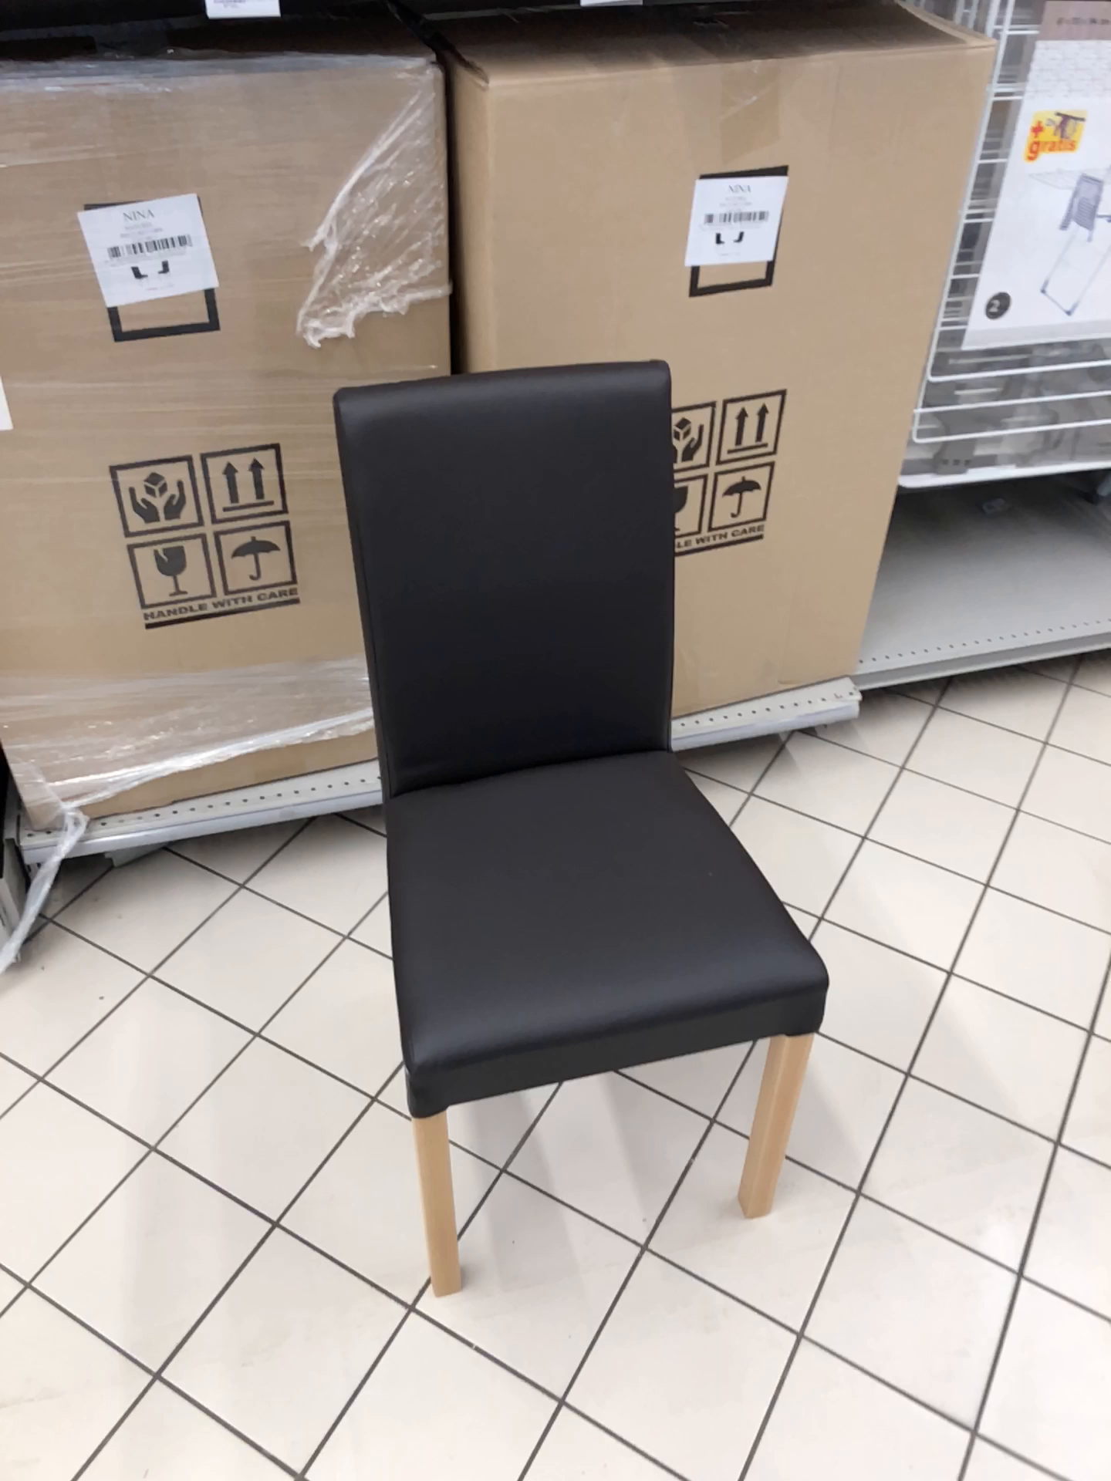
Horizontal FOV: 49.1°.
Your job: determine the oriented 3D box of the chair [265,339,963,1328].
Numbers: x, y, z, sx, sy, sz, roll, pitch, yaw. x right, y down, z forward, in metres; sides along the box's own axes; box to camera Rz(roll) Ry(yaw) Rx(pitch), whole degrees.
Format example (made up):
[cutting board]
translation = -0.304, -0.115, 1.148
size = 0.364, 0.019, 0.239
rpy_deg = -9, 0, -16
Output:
[chair]
translation = -0.004, 0.108, 1.349
size = 0.451, 0.855, 0.593
rpy_deg = -10, 42, -13
